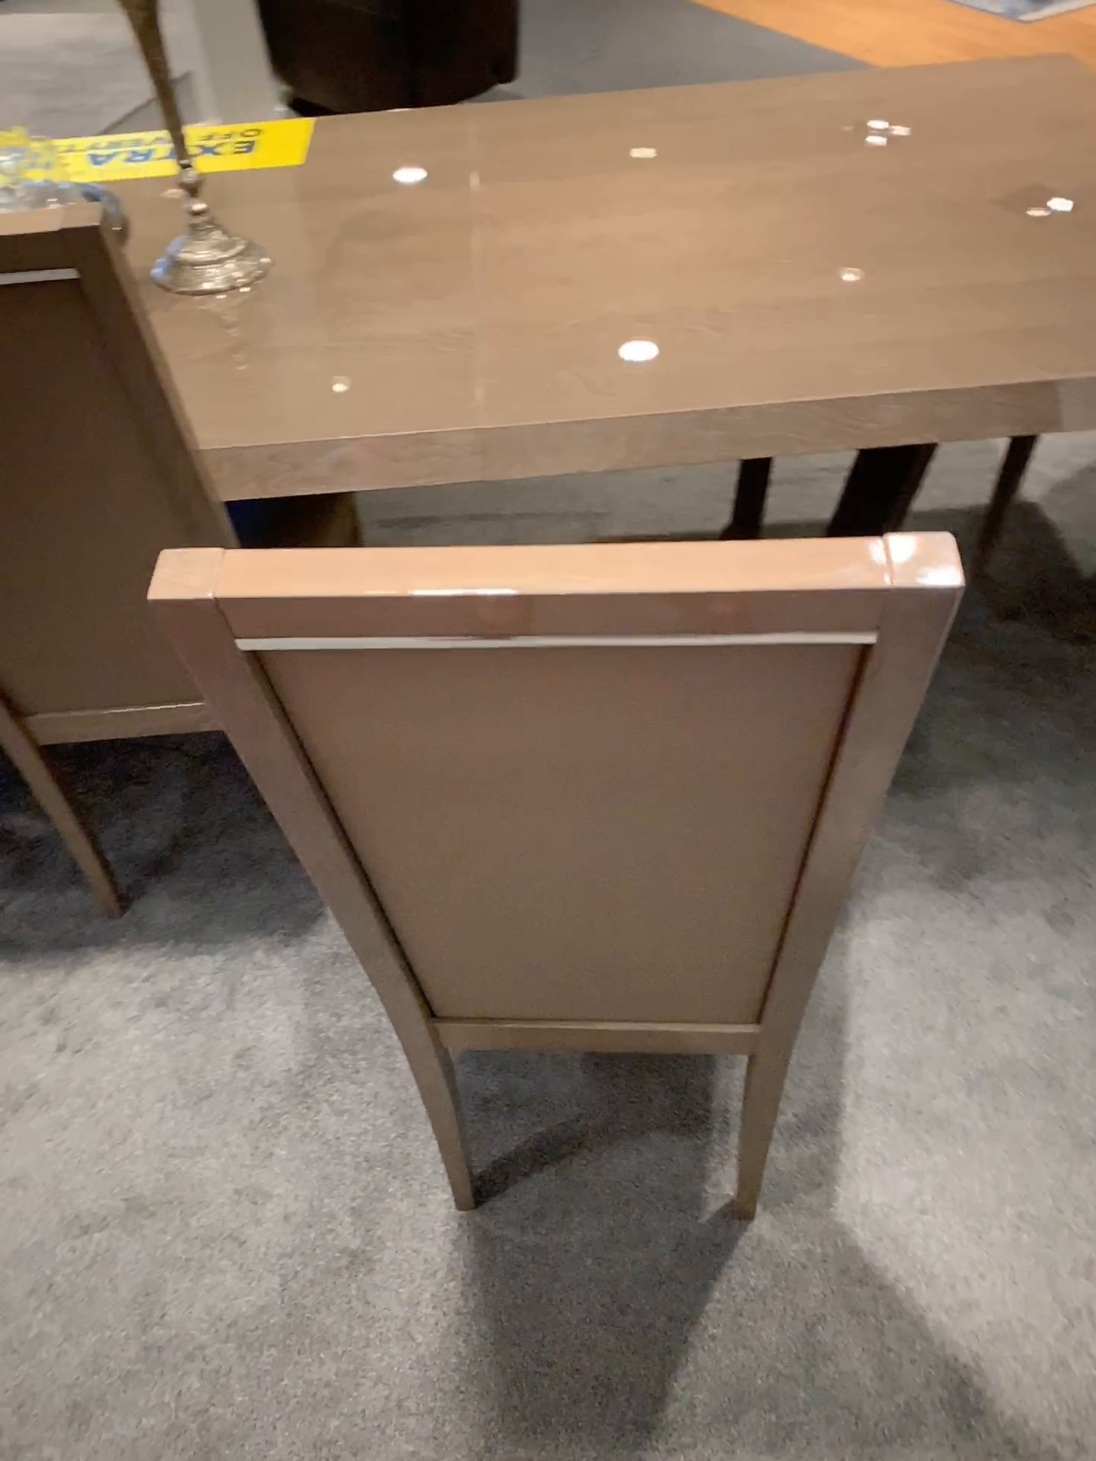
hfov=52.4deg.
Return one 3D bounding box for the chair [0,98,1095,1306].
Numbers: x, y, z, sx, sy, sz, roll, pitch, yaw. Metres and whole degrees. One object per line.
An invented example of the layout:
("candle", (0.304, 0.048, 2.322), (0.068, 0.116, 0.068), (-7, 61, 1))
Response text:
("chair", (0.049, 0.049, 1.034), (0.538, 0.946, 0.591), (-3, 45, 2))
